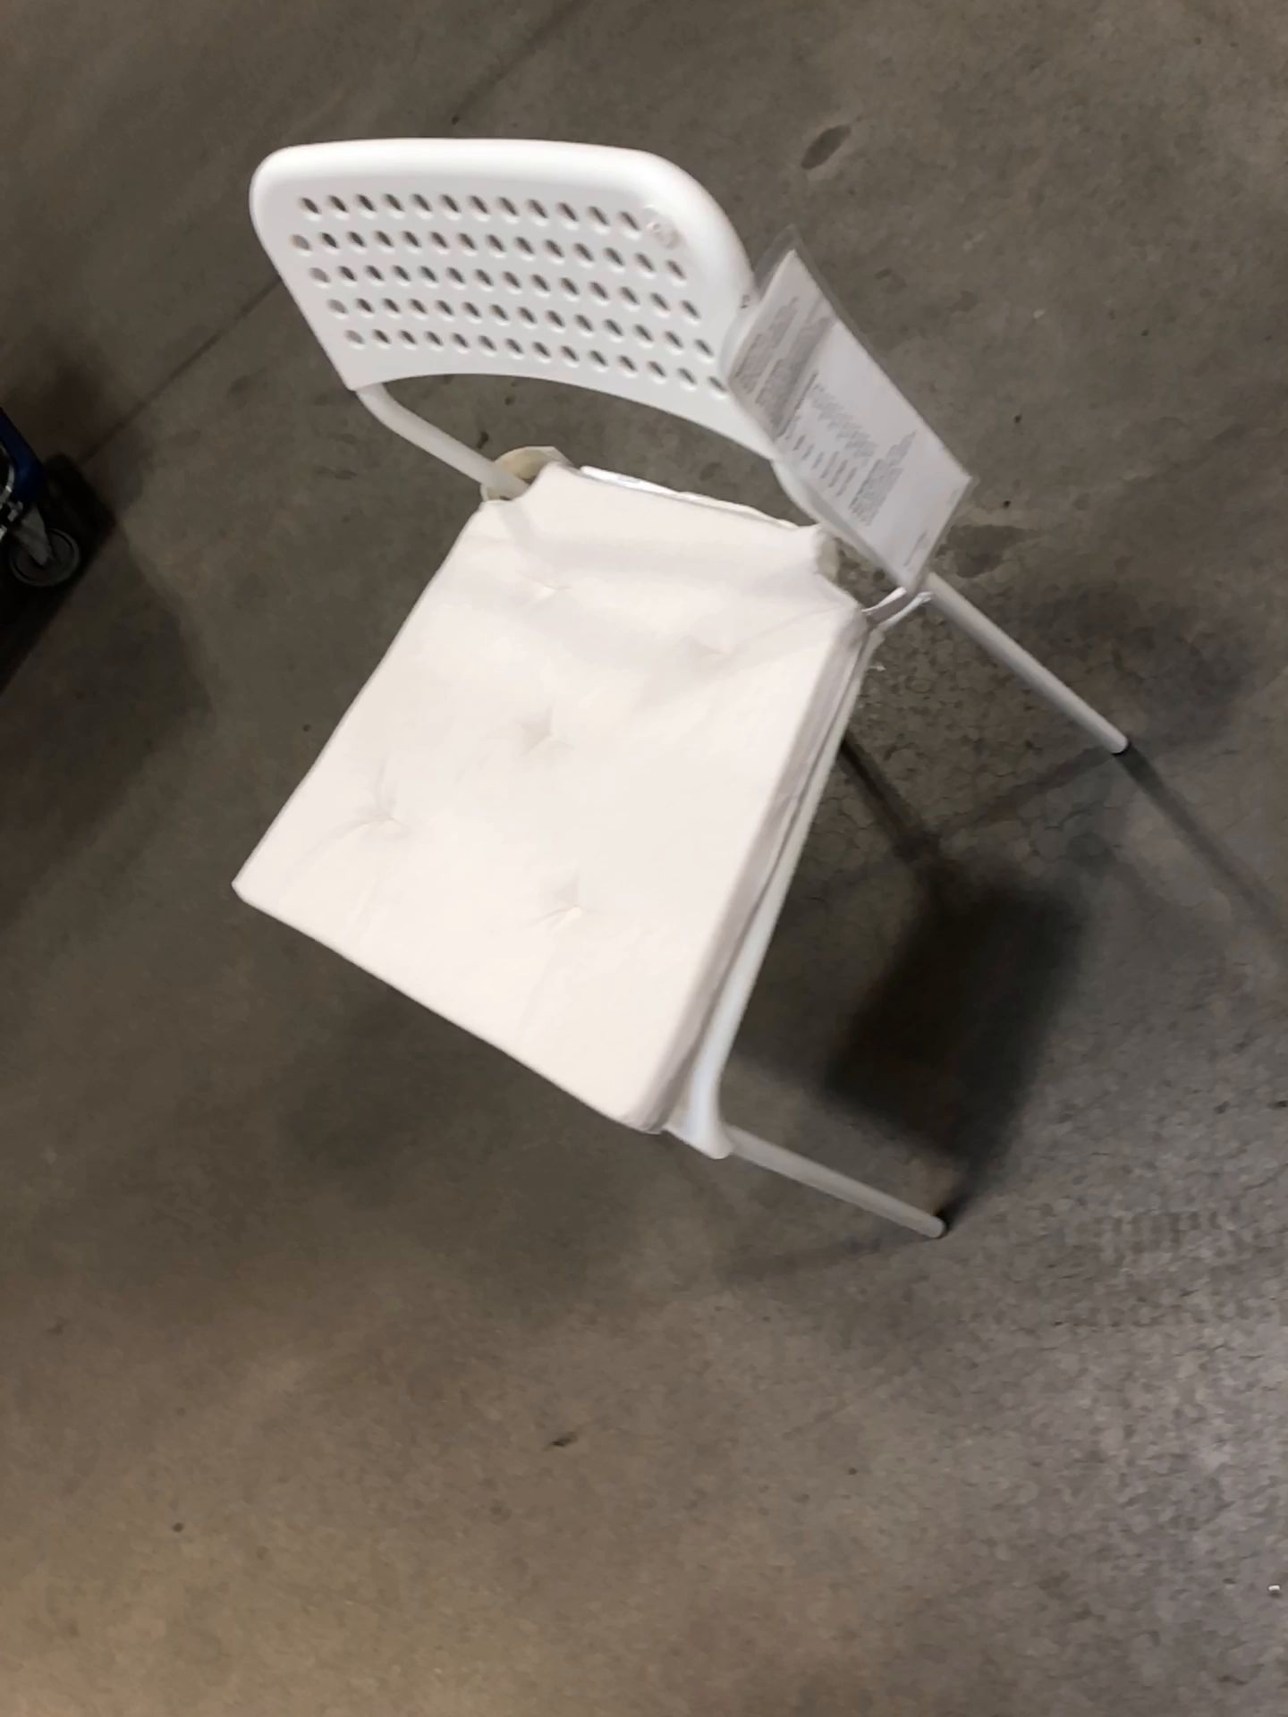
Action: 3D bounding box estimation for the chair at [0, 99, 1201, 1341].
[{"bbox_3d":[-0.008,-0.026,1.000,0.482,0.738,0.530,19,84,35],"label":"chair"}]
